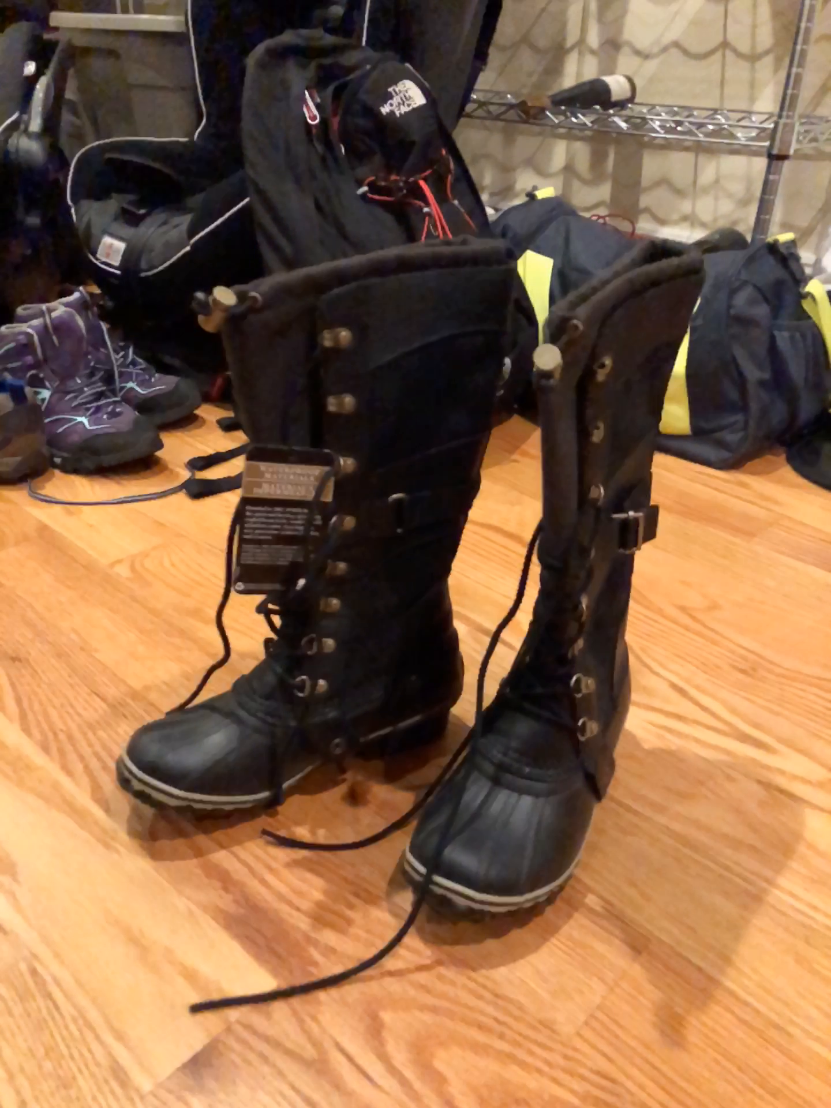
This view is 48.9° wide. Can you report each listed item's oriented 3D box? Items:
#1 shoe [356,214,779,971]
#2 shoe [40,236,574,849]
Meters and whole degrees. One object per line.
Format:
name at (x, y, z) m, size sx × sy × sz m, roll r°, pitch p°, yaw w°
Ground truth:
shoe at (0.084, 0.004, 0.511) m, size 0.100 × 0.328 × 0.261 m, roll 19°, pitch 33°, yaw 27°
shoe at (-0.056, -0.015, 0.553) m, size 0.260 × 0.308 × 0.100 m, roll -14°, pitch 33°, yaw -28°
